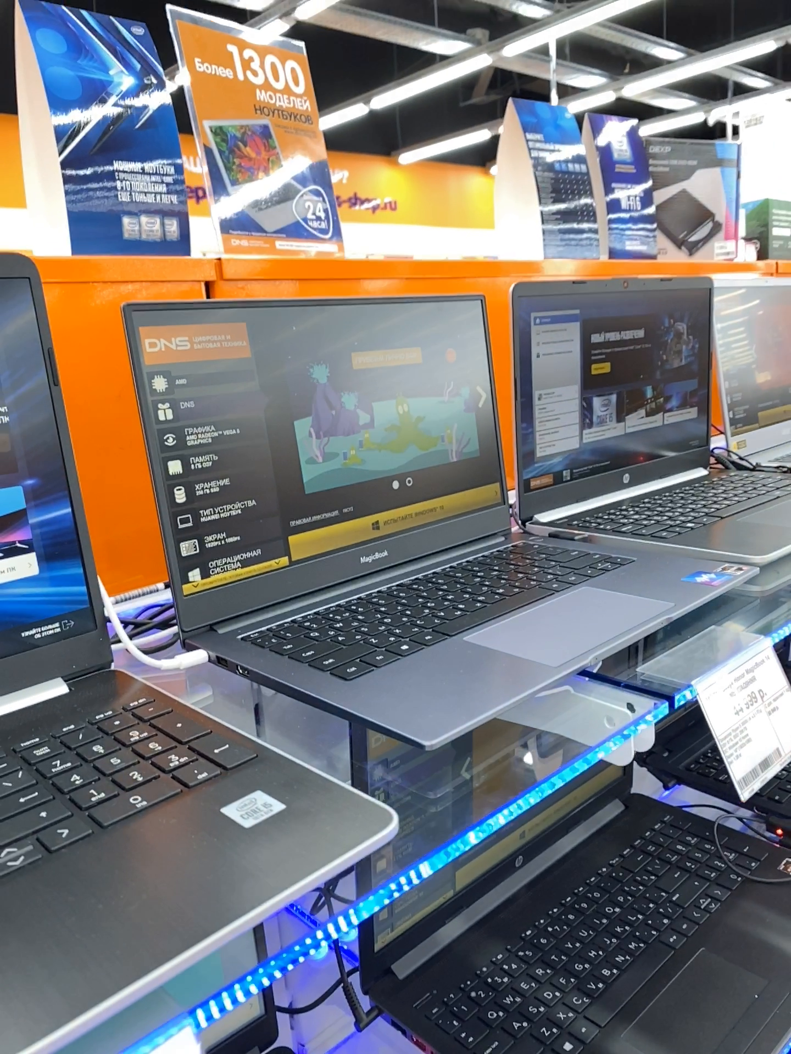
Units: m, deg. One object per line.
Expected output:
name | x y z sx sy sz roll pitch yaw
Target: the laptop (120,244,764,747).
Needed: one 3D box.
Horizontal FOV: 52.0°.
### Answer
laptop | 0.043 -0.051 0.515 0.324 0.203 0.238 -14 16 -41
